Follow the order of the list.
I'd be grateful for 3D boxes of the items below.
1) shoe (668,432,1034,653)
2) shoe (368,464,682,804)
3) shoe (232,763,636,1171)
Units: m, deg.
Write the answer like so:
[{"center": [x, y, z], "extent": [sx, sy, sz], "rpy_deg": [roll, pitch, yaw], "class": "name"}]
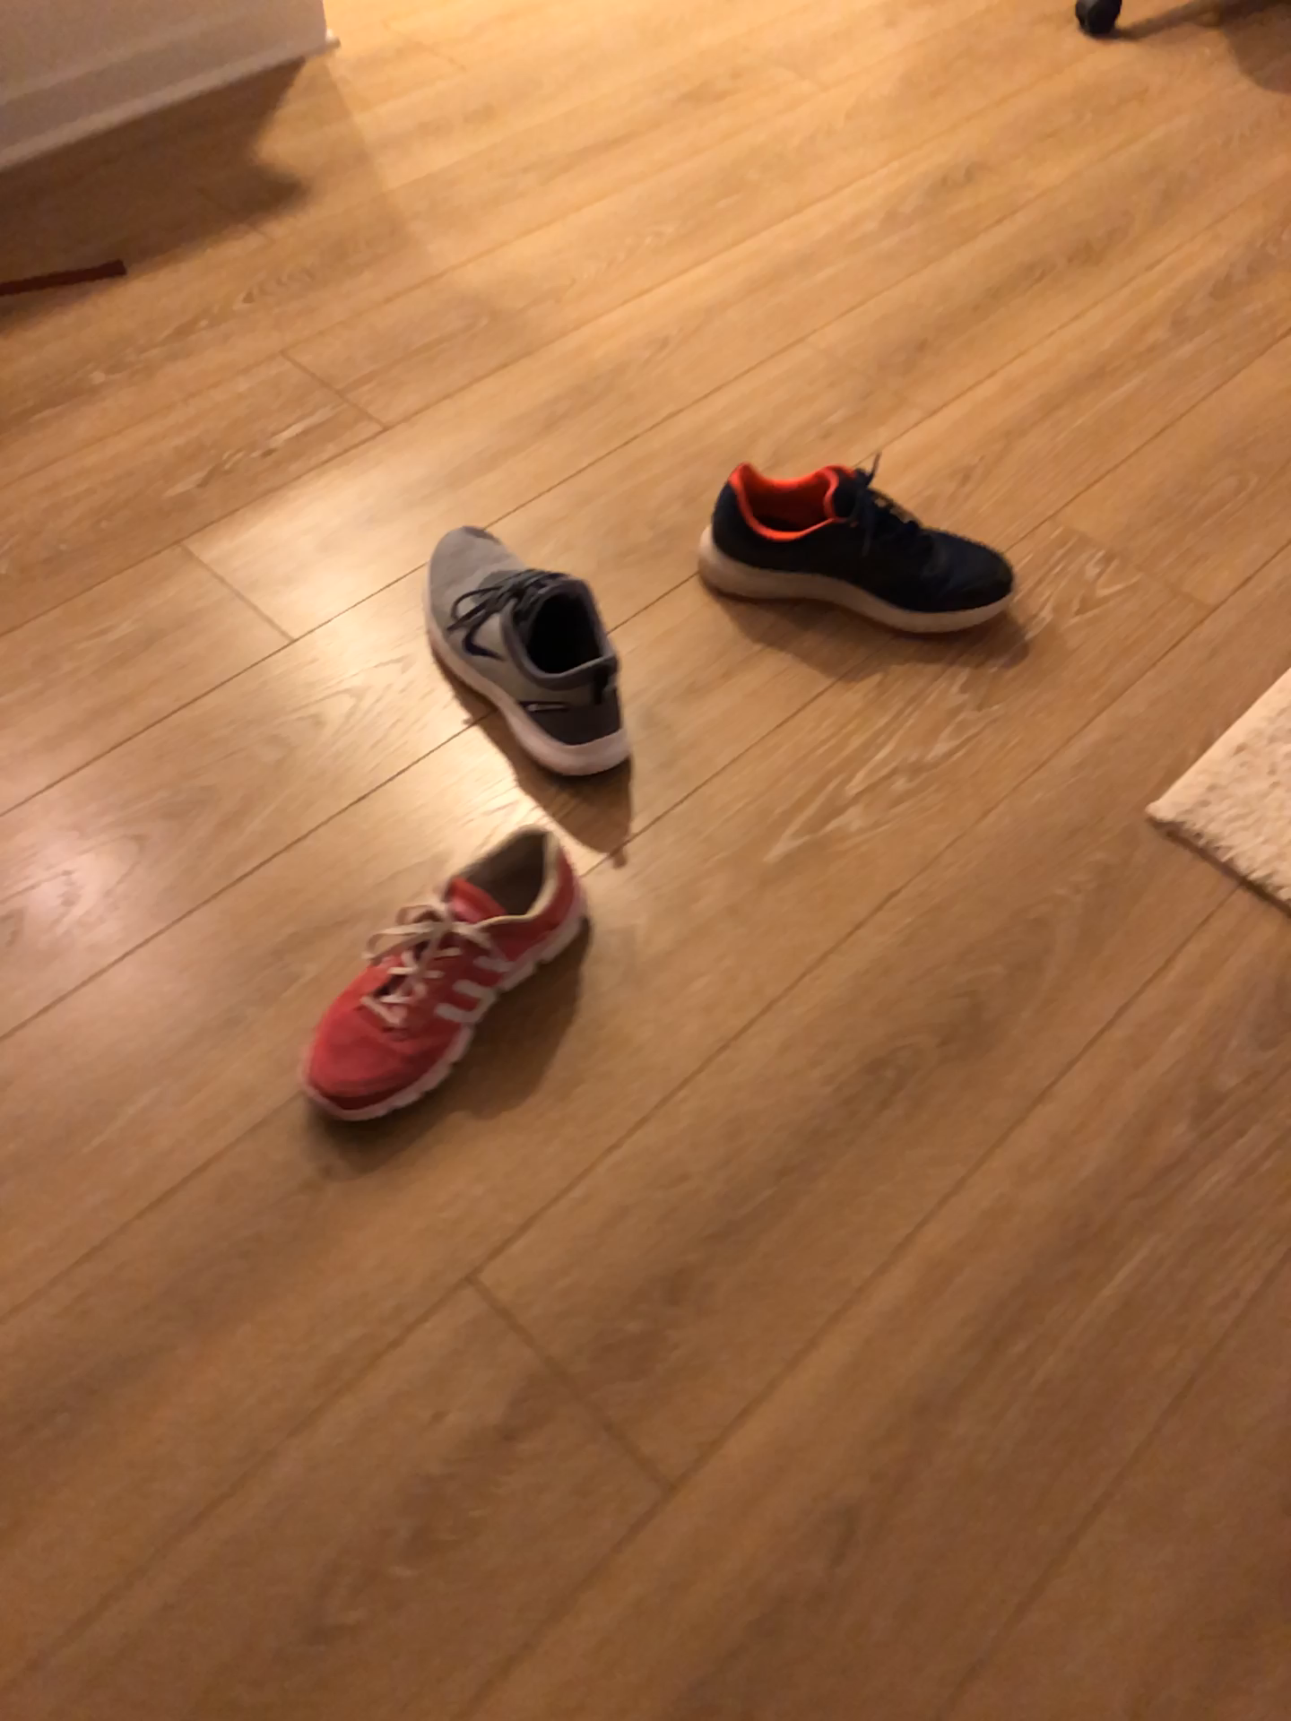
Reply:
[{"center": [0.192, -0.302, 1.341], "extent": [0.320, 0.100, 0.131], "rpy_deg": [10, 53, 6], "class": "shoe"}, {"center": [-0.111, -0.207, 1.245], "extent": [0.130, 0.080, 0.321], "rpy_deg": [-25, 58, -19], "class": "shoe"}, {"center": [-0.146, 0.071, 1.050], "extent": [0.130, 0.090, 0.281], "rpy_deg": [33, 59, 21], "class": "shoe"}]
